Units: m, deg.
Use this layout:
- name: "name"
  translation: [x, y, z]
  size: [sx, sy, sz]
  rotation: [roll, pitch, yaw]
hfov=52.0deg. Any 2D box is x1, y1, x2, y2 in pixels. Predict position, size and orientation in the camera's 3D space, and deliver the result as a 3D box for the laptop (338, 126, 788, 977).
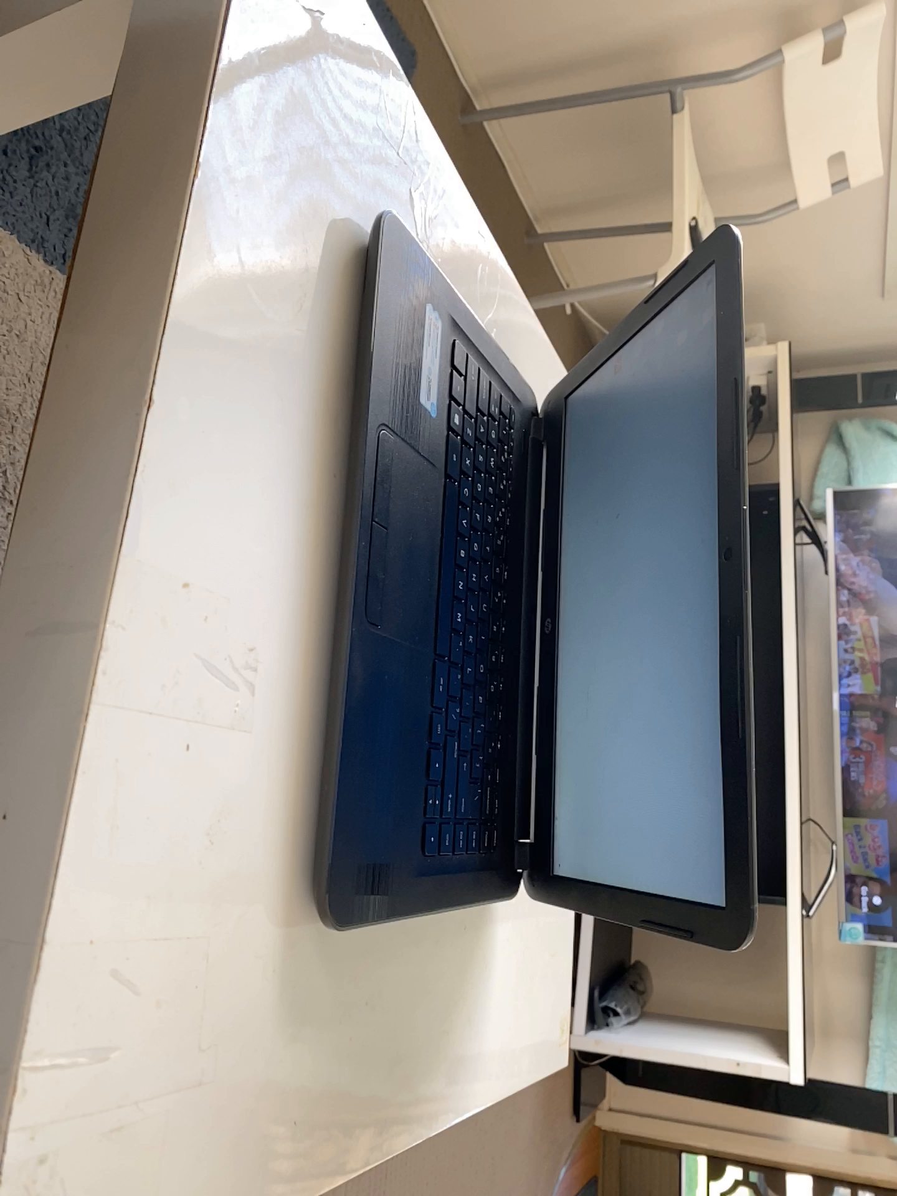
- name: "laptop"
  translation: [0.079, -0.010, 0.479]
  size: [0.226, 0.154, 0.335]
  rotation: [29, 60, -63]
